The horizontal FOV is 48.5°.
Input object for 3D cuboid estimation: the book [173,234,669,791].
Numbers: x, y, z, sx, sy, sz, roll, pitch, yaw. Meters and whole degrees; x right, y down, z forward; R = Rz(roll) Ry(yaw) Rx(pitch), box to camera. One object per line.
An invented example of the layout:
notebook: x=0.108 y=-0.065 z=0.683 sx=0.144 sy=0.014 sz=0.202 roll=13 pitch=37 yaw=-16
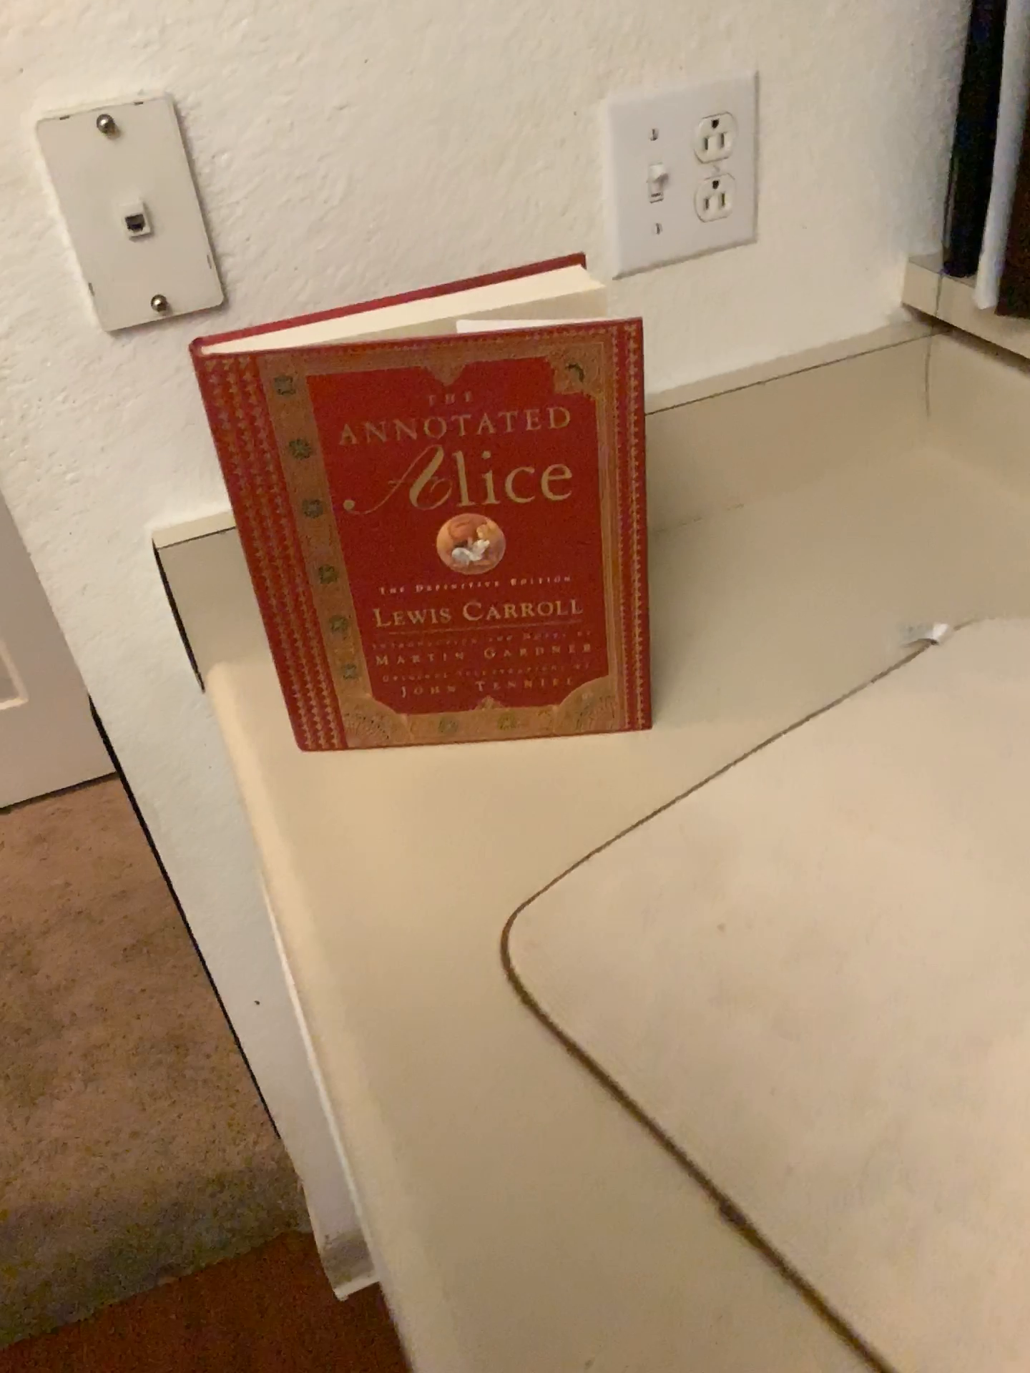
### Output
book: x=-0.039 y=-0.098 z=0.679 sx=0.230 sy=0.260 sz=0.150 roll=-7 pitch=38 yaw=1
